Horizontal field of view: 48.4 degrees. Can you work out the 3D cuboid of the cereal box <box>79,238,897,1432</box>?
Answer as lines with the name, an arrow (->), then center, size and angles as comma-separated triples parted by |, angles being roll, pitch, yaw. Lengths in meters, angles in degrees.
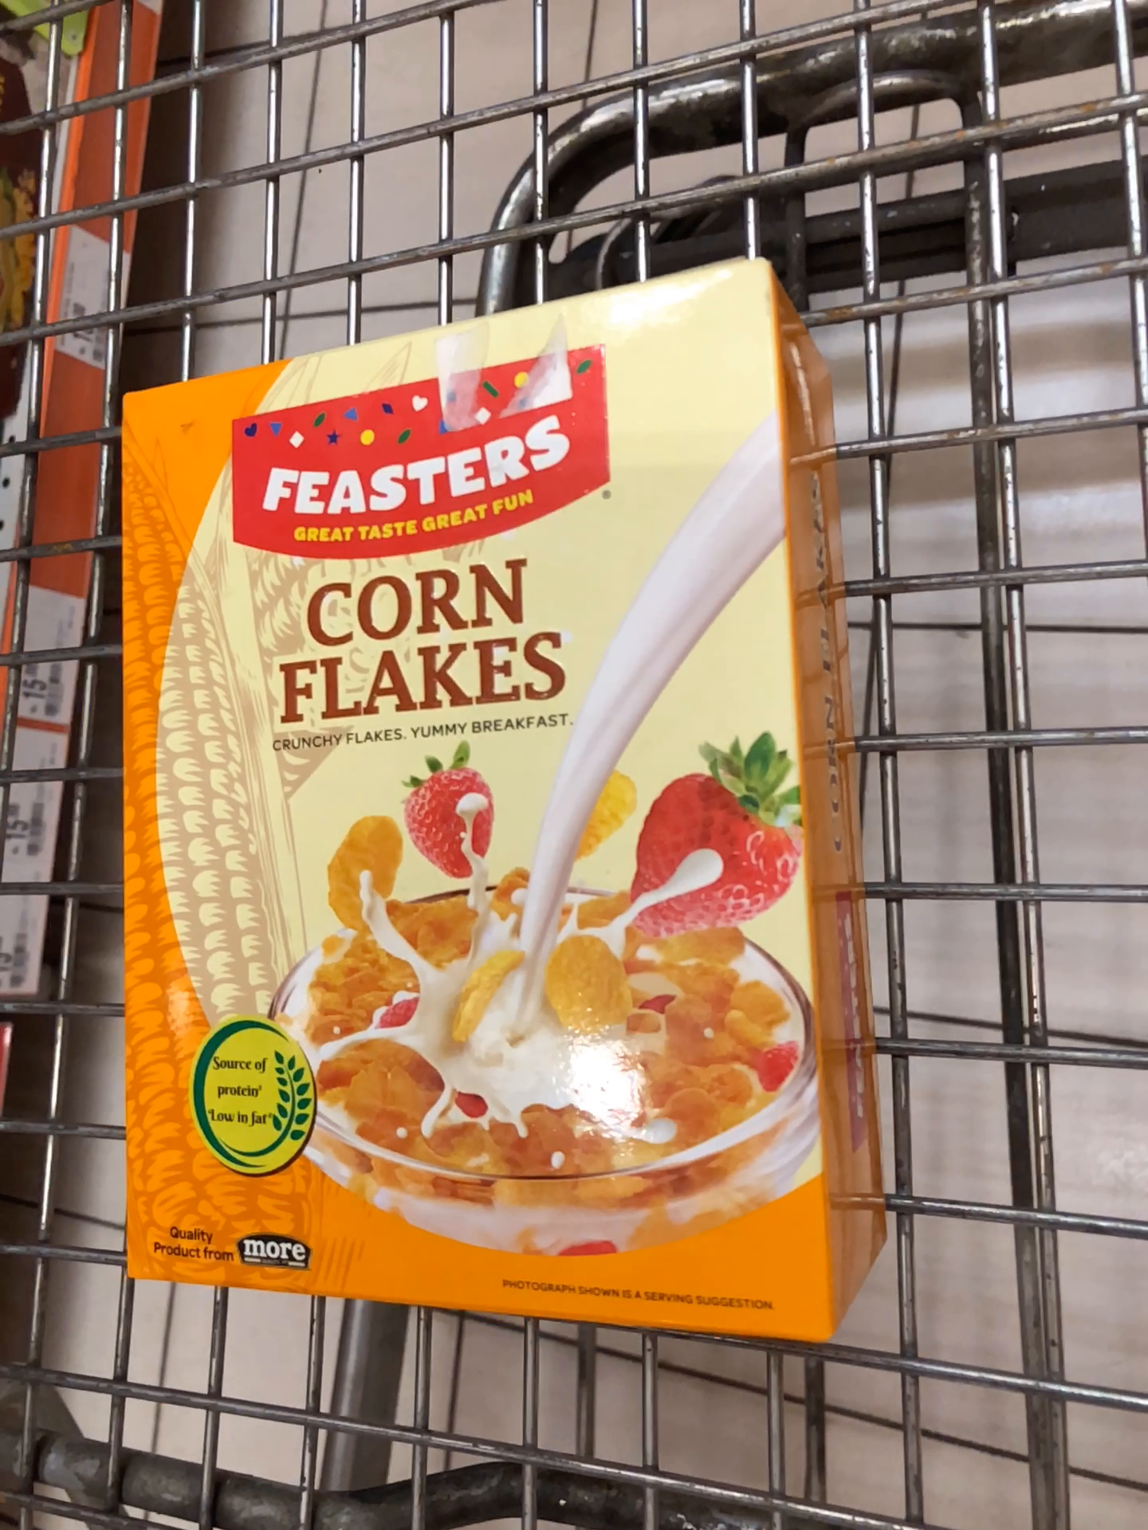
cereal box -> -0.018, 0.013, 0.246 | 0.140, 0.060, 0.180 | -4, 85, 22
